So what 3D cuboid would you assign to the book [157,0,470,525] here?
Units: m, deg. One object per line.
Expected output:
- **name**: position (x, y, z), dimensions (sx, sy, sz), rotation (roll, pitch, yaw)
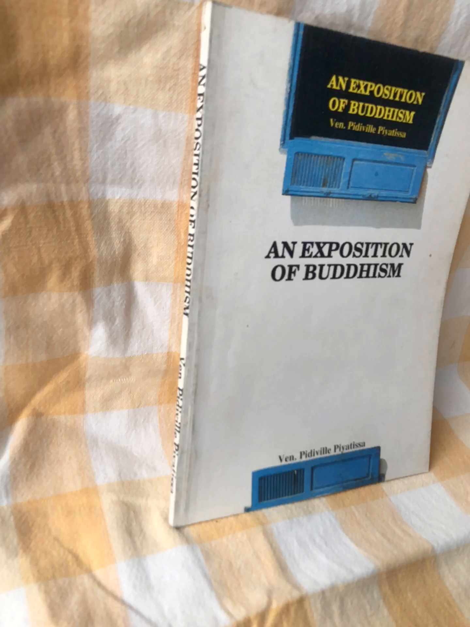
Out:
- **book**: position (0.042, -0.015, 0.220), dimensions (0.140, 0.199, 0.020), rotation (-3, 18, -24)
